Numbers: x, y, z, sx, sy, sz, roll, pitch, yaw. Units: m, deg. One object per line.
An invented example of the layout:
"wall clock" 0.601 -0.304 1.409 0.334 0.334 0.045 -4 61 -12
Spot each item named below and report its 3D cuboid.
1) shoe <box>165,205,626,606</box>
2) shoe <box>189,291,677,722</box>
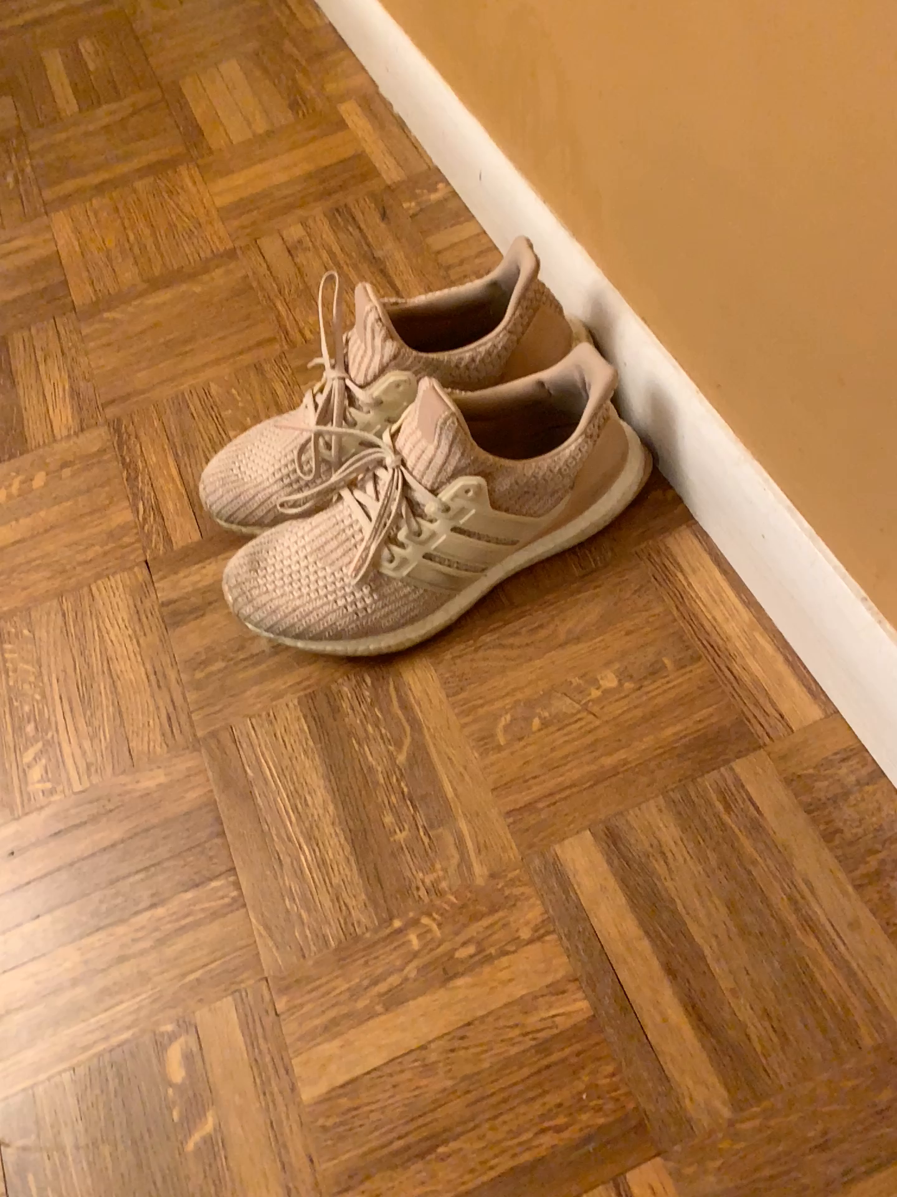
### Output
"shoe" -0.033 -0.128 0.646 0.280 0.130 0.100 -29 58 4
"shoe" -0.008 -0.050 0.576 0.260 0.120 0.110 -30 58 6
